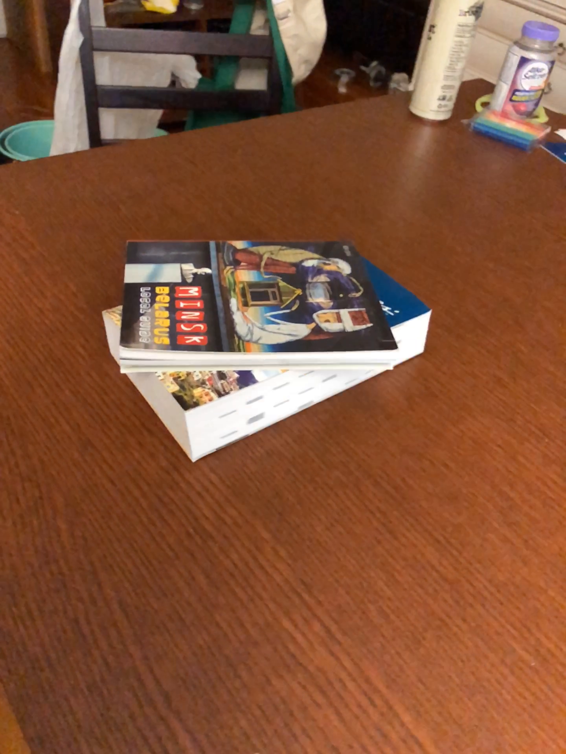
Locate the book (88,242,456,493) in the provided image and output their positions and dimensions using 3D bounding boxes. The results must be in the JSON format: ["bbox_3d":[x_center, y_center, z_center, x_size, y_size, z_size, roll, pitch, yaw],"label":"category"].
[{"bbox_3d":[-0.005,-0.022,0.445,0.221,0.040,0.130,-22,51,-29],"label":"book"}]

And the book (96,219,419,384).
[{"bbox_3d":[-0.023,-0.059,0.424,0.190,0.020,0.151,-2,44,-11],"label":"book"}]
